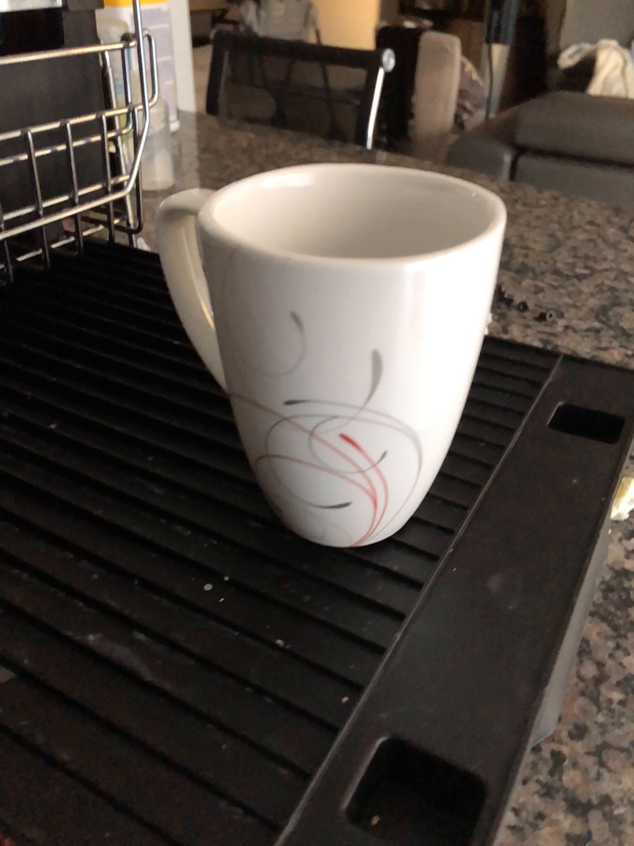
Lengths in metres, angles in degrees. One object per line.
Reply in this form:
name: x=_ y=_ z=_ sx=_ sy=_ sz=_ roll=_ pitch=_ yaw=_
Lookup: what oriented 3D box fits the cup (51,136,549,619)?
cup: x=-0.003 y=-0.024 z=0.234 sx=0.116 sy=0.105 sz=0.088 roll=19 pitch=38 yaw=23
